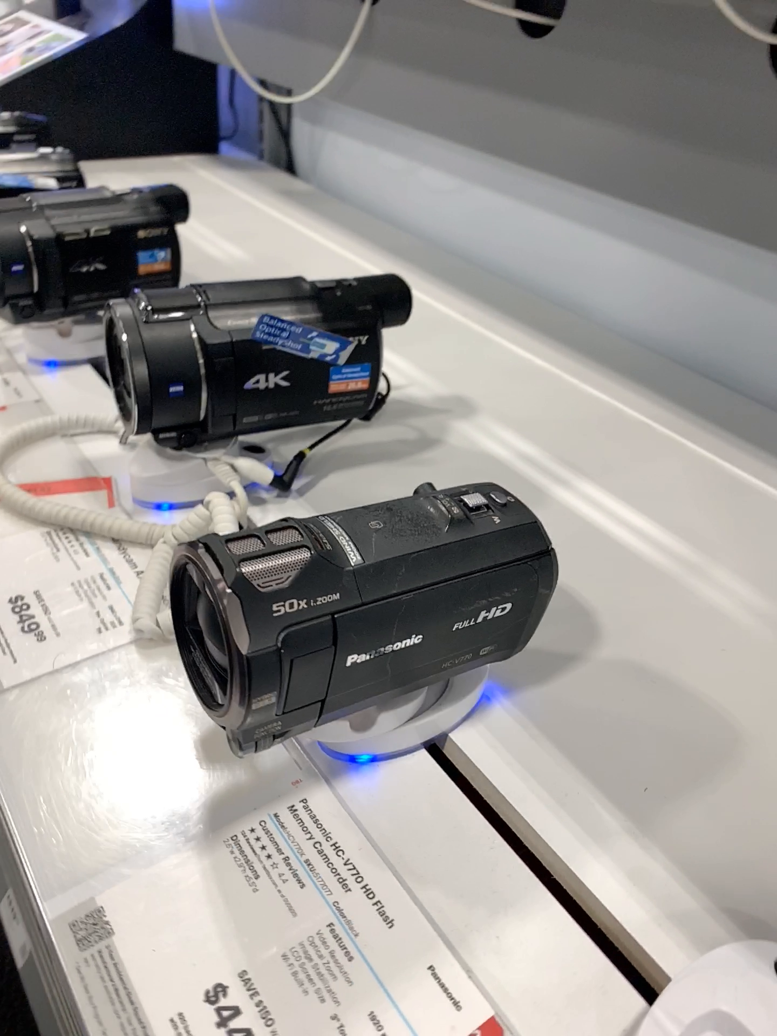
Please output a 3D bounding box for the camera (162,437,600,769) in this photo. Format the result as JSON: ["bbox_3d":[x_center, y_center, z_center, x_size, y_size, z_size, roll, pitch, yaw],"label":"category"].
[{"bbox_3d":[-0.003,0.022,0.293,0.139,0.061,0.065,-13,40,-33],"label":"camera"}]

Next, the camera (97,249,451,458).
[{"bbox_3d":[-0.060,-0.095,0.436,0.166,0.073,0.071,-13,40,-29],"label":"camera"}]
